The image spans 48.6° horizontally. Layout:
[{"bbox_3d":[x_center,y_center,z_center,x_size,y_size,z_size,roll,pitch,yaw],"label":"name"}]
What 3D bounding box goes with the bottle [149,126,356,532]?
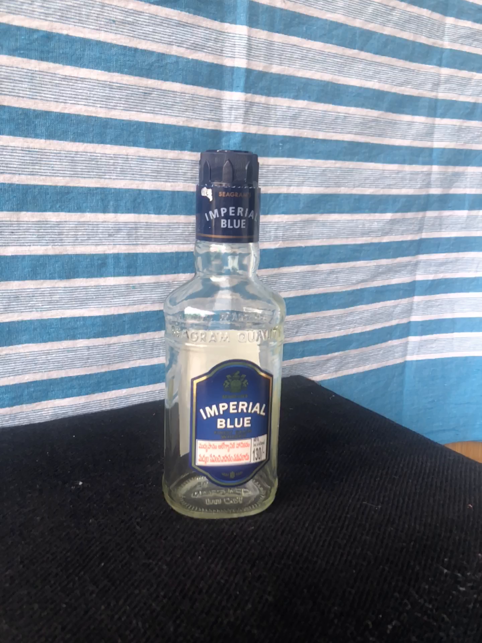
[{"bbox_3d":[-0.002,0.005,0.246,0.070,0.169,0.050,2,15,-13],"label":"bottle"}]
